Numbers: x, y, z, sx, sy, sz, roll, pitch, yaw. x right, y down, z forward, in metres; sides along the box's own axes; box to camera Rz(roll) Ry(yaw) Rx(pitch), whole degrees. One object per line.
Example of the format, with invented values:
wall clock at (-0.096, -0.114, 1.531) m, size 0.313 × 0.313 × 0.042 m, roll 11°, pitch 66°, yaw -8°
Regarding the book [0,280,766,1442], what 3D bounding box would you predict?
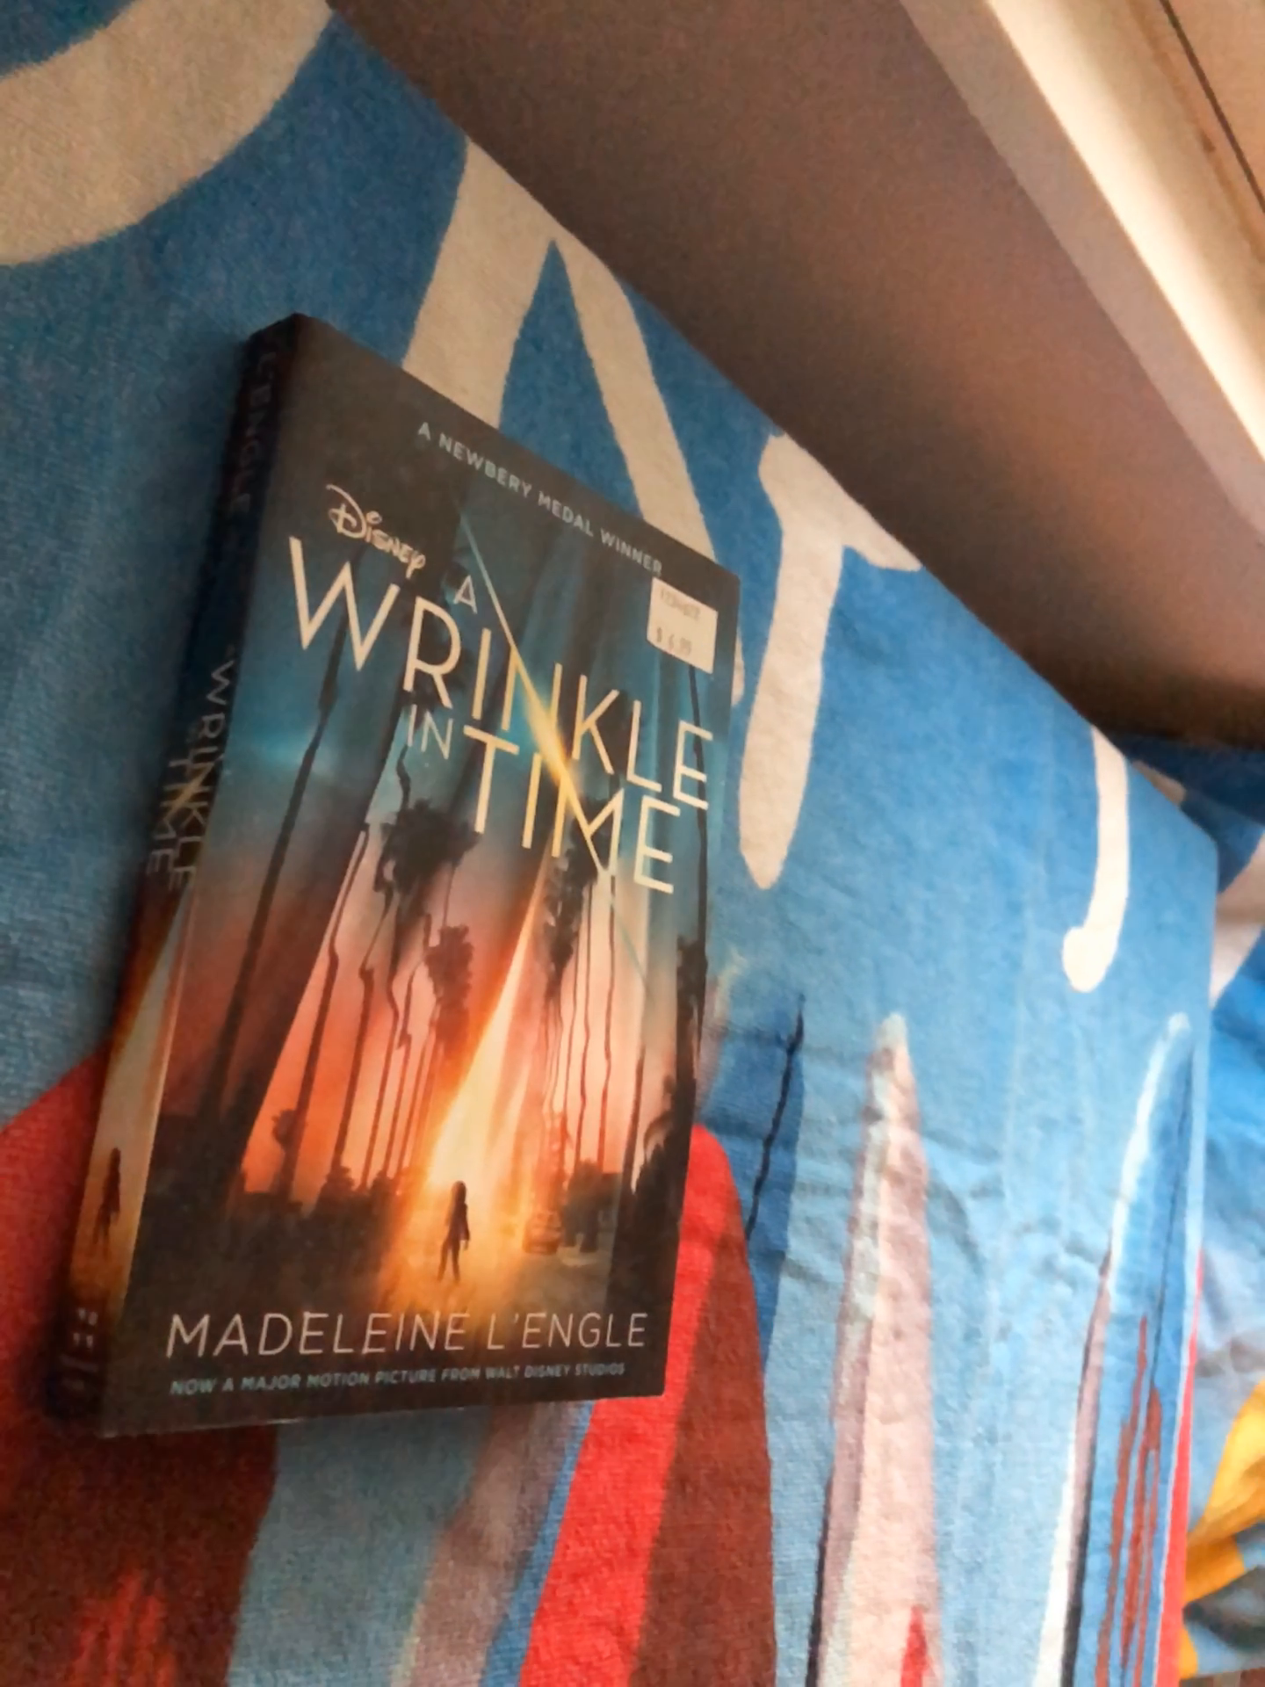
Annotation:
book at (-0.039, 0.012, 0.287) m, size 0.138 × 0.031 × 0.195 m, roll 21°, pitch 73°, yaw -45°
